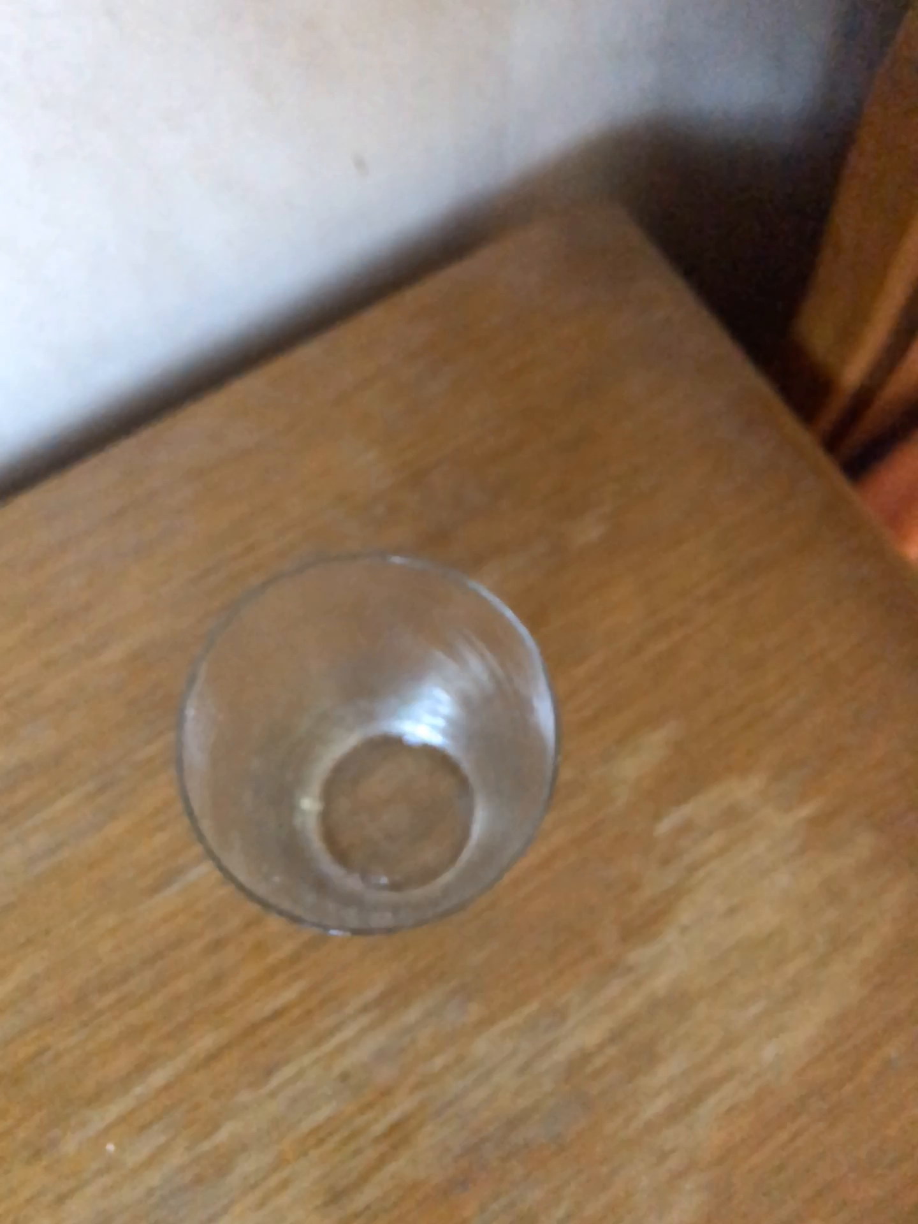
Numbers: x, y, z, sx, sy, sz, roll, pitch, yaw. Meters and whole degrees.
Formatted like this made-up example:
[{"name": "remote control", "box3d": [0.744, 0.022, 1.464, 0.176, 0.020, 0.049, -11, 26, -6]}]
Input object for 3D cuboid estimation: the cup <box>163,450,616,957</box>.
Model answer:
[{"name": "cup", "box3d": [-0.016, 0.032, 0.253, 0.070, 0.120, 0.080, -13, 70, -5]}]
